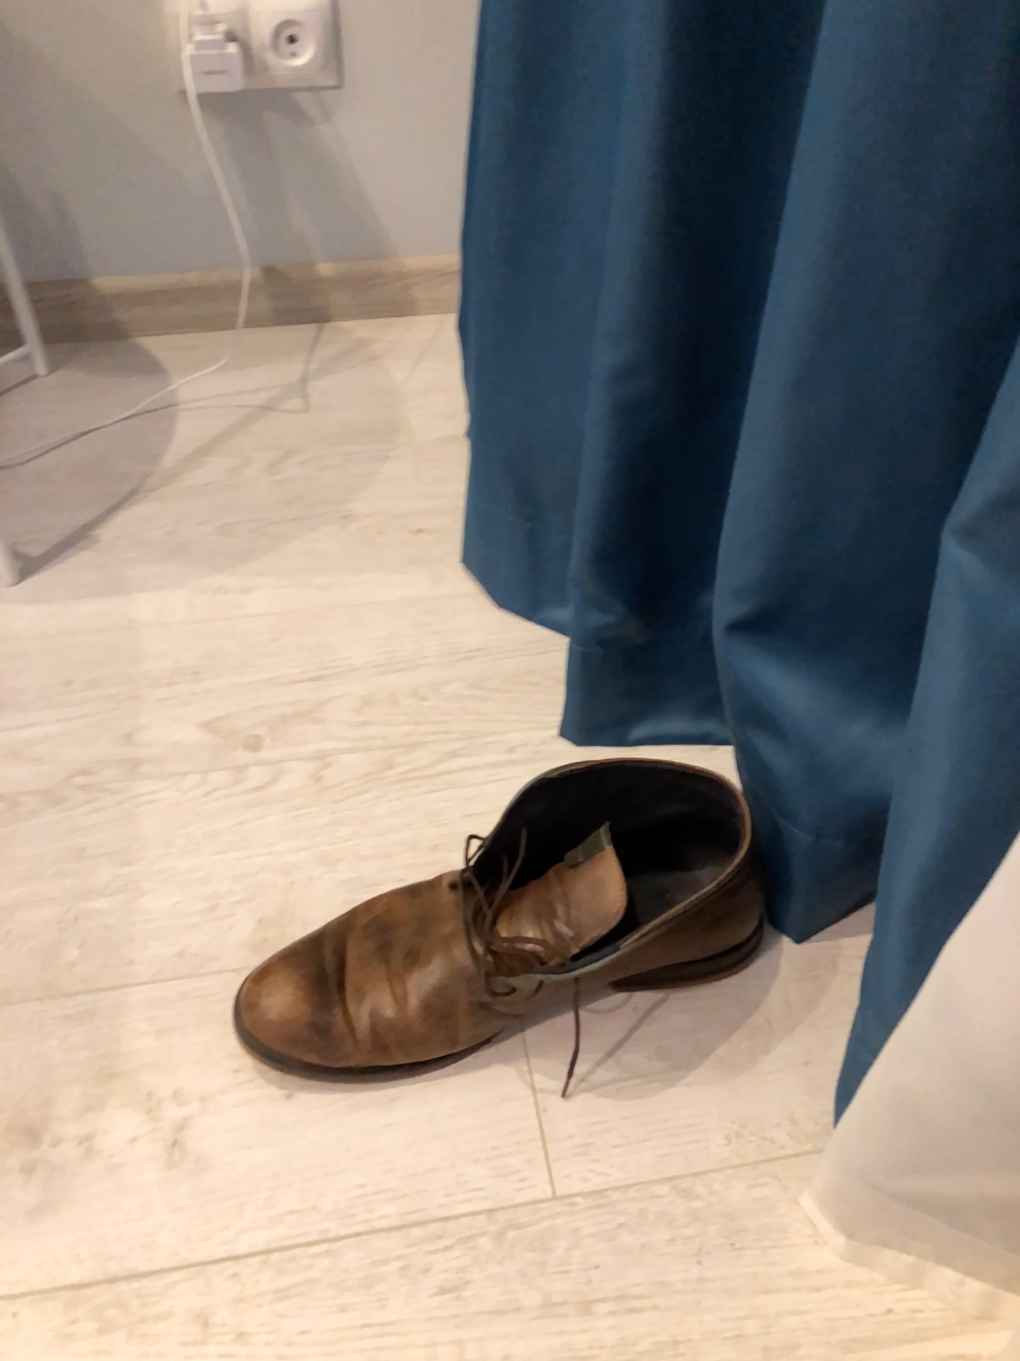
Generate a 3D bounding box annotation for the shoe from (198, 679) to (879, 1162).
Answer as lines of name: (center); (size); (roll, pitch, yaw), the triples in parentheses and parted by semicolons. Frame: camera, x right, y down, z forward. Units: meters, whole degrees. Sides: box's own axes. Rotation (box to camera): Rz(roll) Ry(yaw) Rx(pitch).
shoe: (0.009, 0.127, 0.618); (0.320, 0.159, 0.131); (-10, 44, -11)
